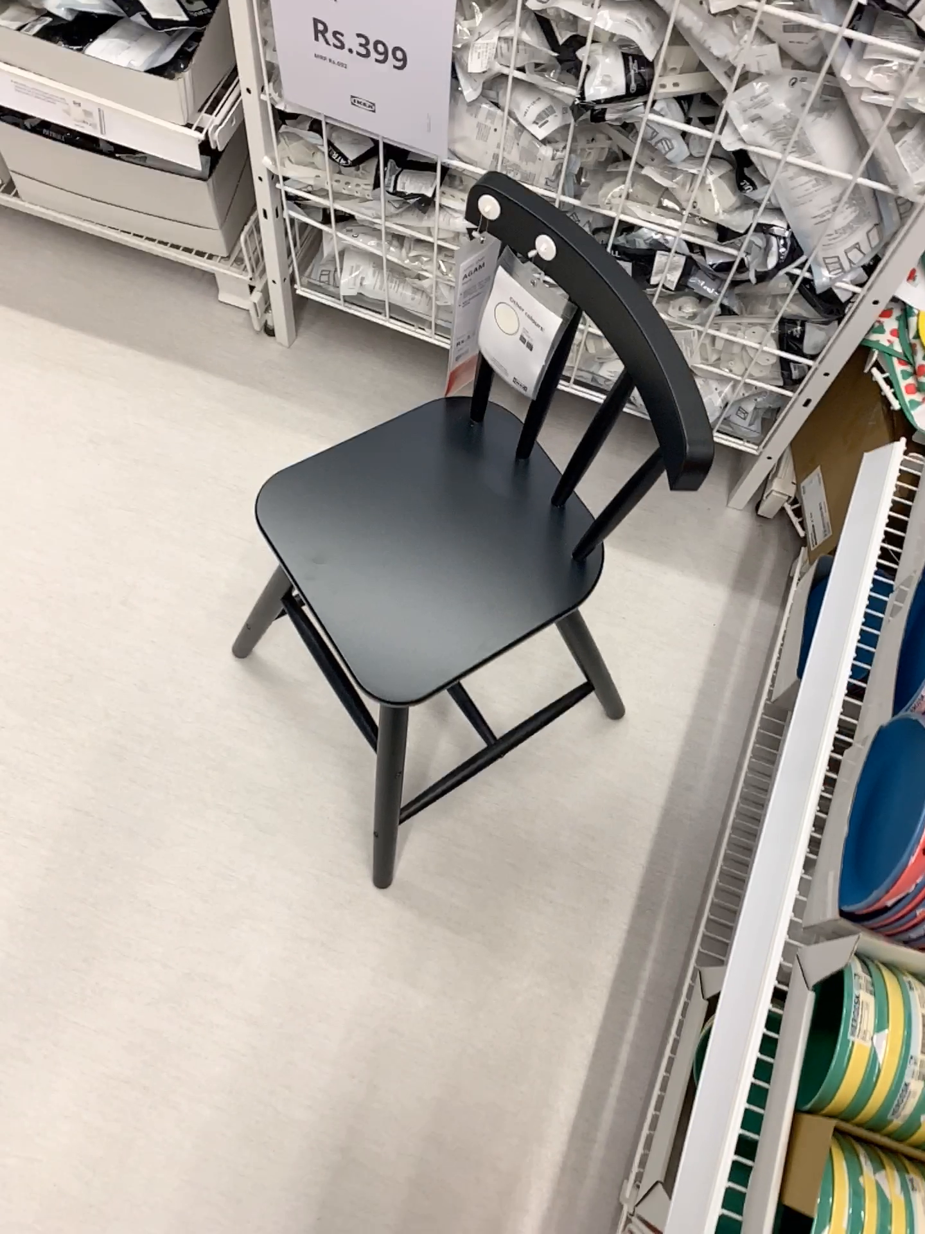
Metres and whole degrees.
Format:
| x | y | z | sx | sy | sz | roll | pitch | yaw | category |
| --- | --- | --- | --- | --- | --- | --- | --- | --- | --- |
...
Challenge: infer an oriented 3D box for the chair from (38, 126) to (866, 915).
| x | y | z | sx | sy | sz | roll | pitch | yaw | category |
| --- | --- | --- | --- | --- | --- | --- | --- | --- | --- |
| -0.029 | -0.019 | 1.016 | 0.460 | 0.689 | 0.420 | -29 | 73 | -14 | chair |
